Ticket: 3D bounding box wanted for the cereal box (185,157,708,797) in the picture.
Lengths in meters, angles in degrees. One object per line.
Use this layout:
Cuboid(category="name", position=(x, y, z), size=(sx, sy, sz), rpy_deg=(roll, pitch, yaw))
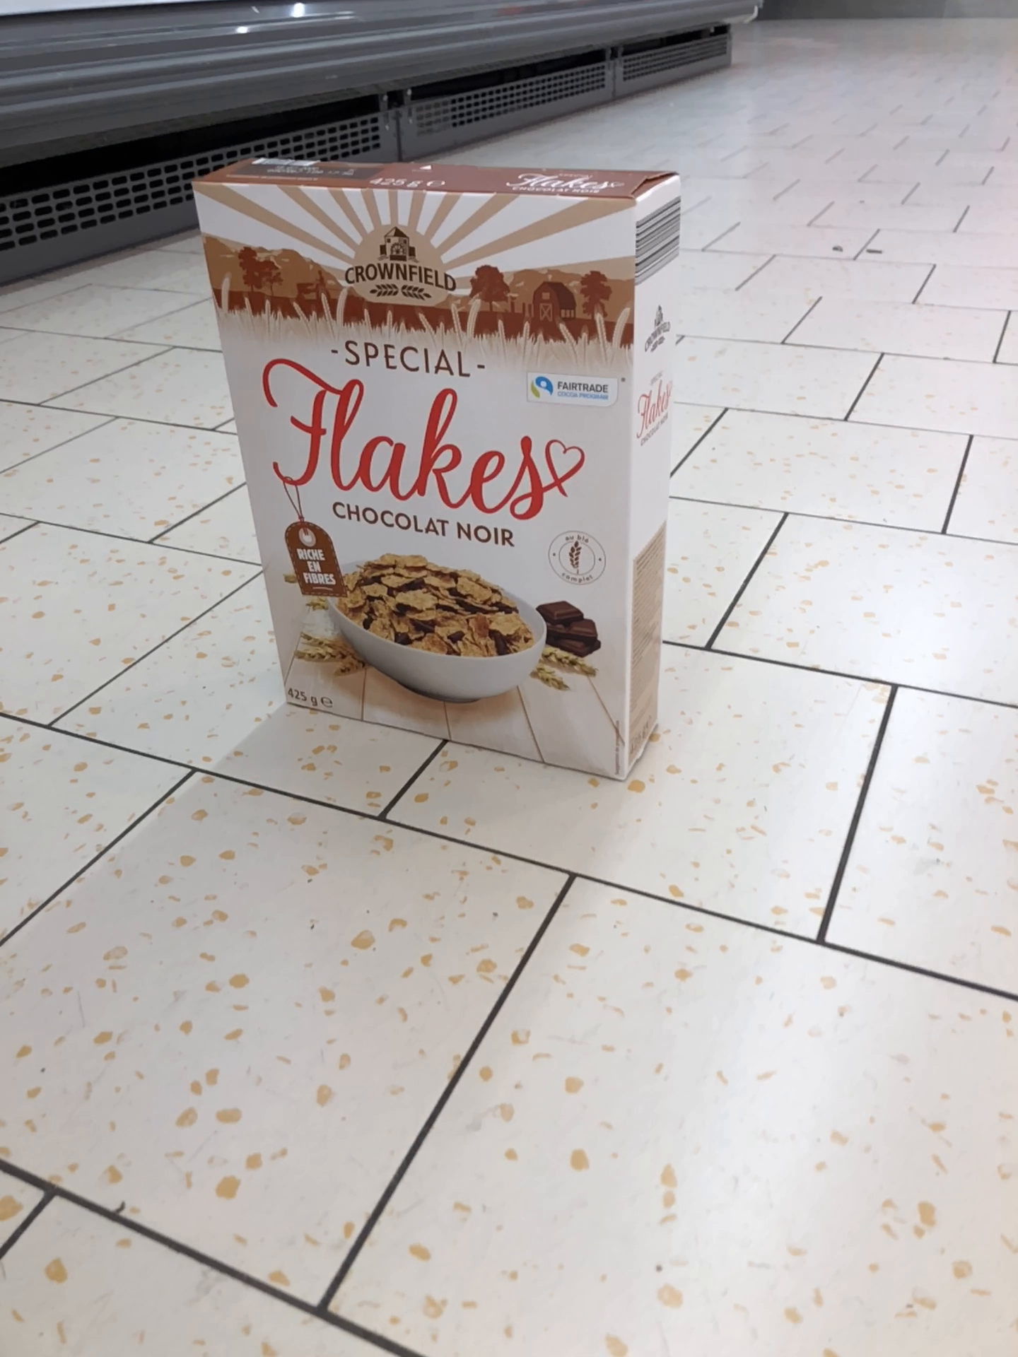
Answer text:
Cuboid(category="cereal box", position=(-0.023, -0.093, 0.513), size=(0.200, 0.258, 0.070), rpy_deg=(12, 34, 22))
